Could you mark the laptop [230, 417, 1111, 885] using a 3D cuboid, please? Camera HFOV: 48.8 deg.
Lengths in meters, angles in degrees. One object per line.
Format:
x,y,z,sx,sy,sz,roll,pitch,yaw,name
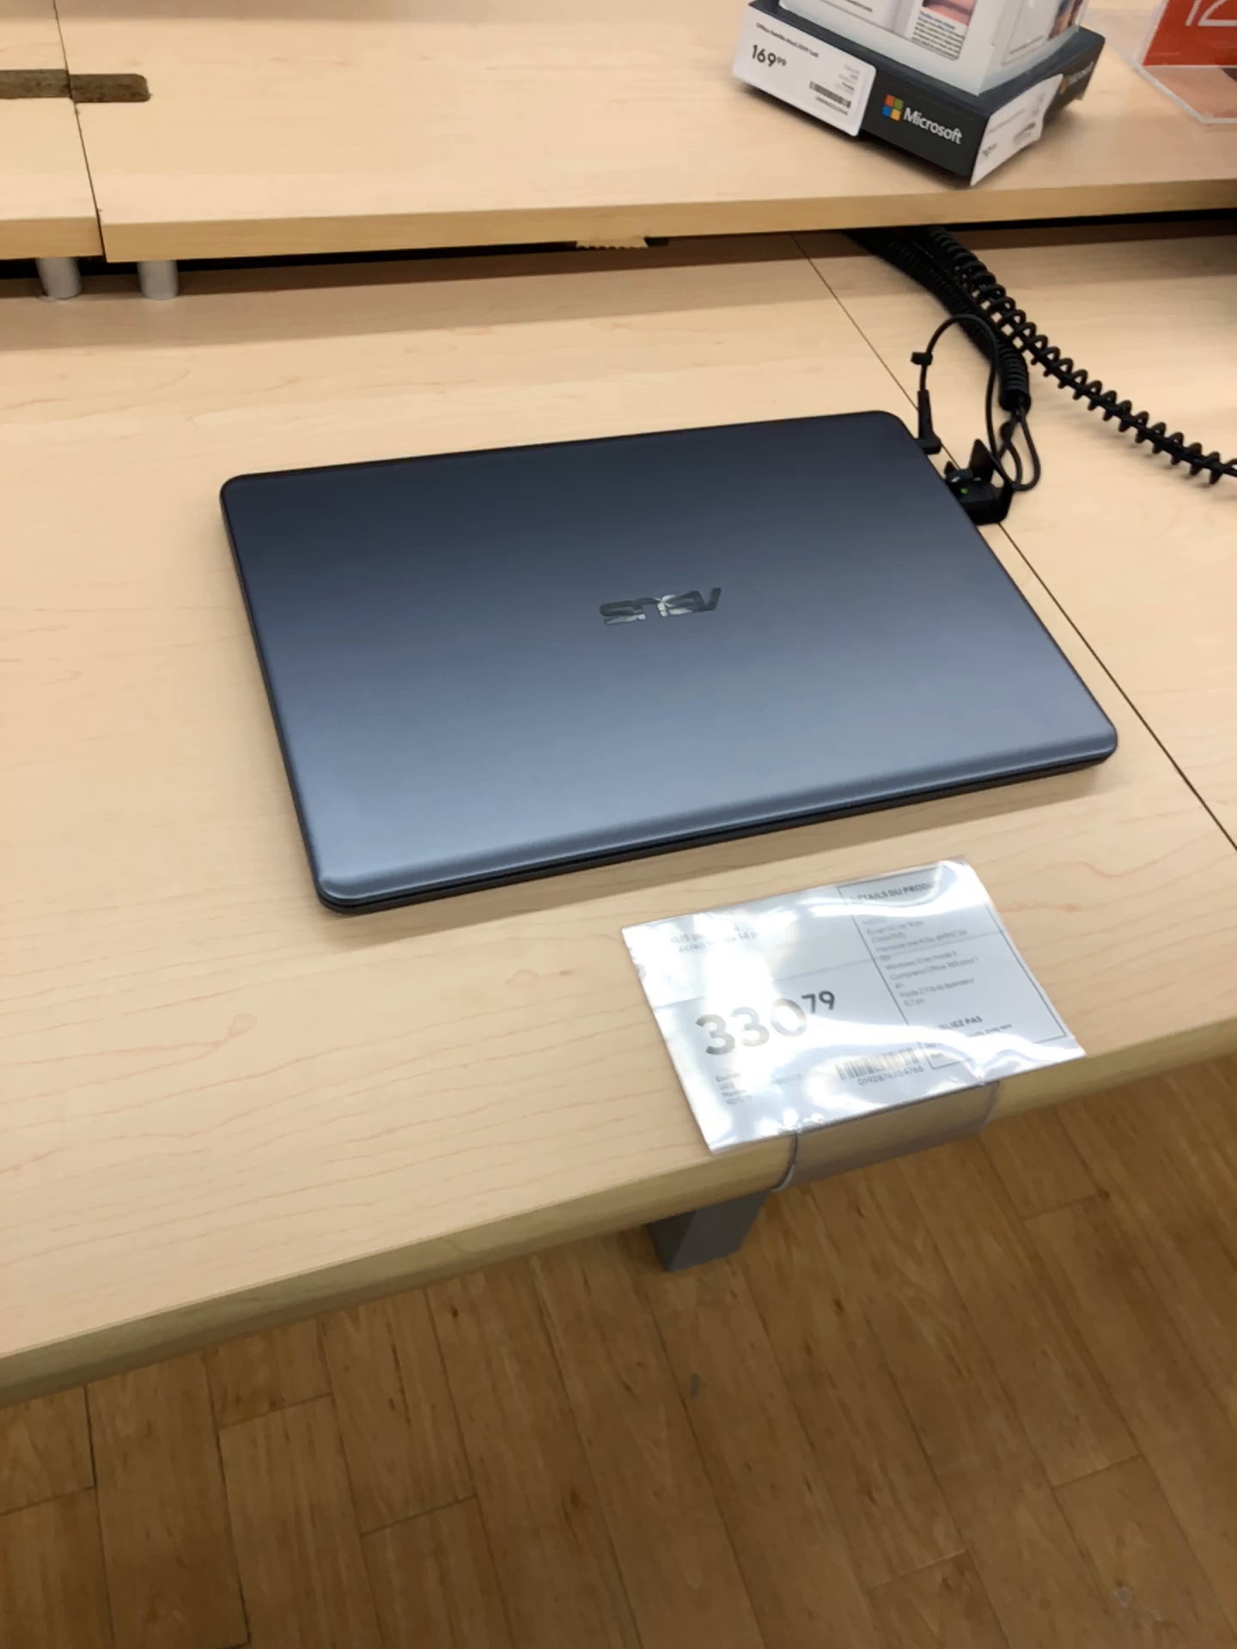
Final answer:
0.019,-0.090,0.570,0.318,0.001,0.210,-11,56,-17,laptop
